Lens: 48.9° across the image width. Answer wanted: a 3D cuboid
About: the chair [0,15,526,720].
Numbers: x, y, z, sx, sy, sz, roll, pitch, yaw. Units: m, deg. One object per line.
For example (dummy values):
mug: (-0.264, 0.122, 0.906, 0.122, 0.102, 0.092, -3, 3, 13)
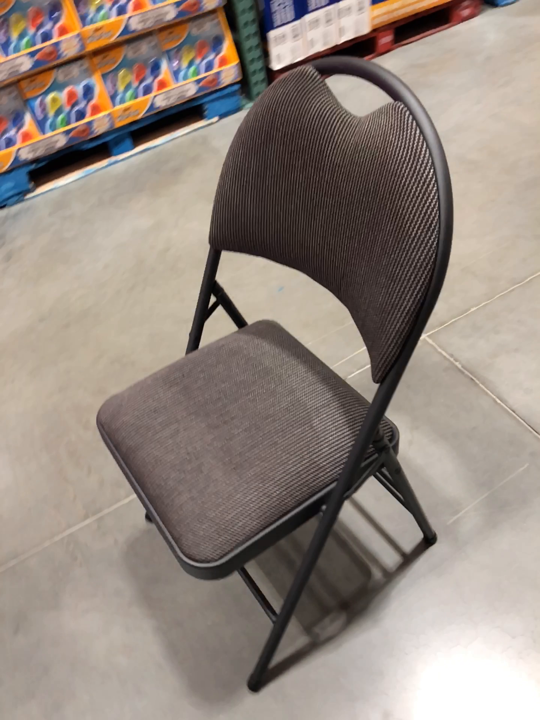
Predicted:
chair: (-0.061, 0.056, 0.956, 0.560, 0.867, 0.522, -32, 49, -17)
